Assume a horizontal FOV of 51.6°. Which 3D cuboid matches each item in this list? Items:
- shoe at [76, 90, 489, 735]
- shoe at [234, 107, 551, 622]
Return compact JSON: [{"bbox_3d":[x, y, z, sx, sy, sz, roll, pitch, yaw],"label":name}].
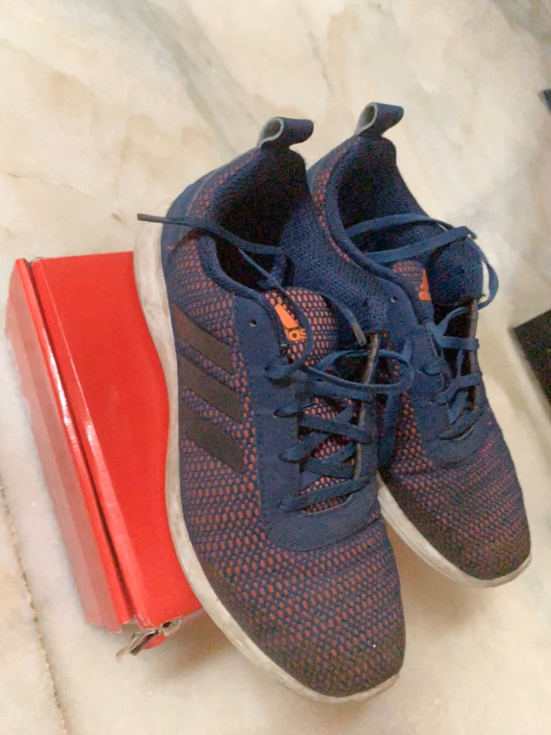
[{"bbox_3d":[-0.014,0.016,0.306,0.100,0.099,0.301,-8,73,-33],"label":"shoe"},{"bbox_3d":[0.088,-0.010,0.340,0.100,0.080,0.280,-17,78,-35],"label":"shoe"}]
